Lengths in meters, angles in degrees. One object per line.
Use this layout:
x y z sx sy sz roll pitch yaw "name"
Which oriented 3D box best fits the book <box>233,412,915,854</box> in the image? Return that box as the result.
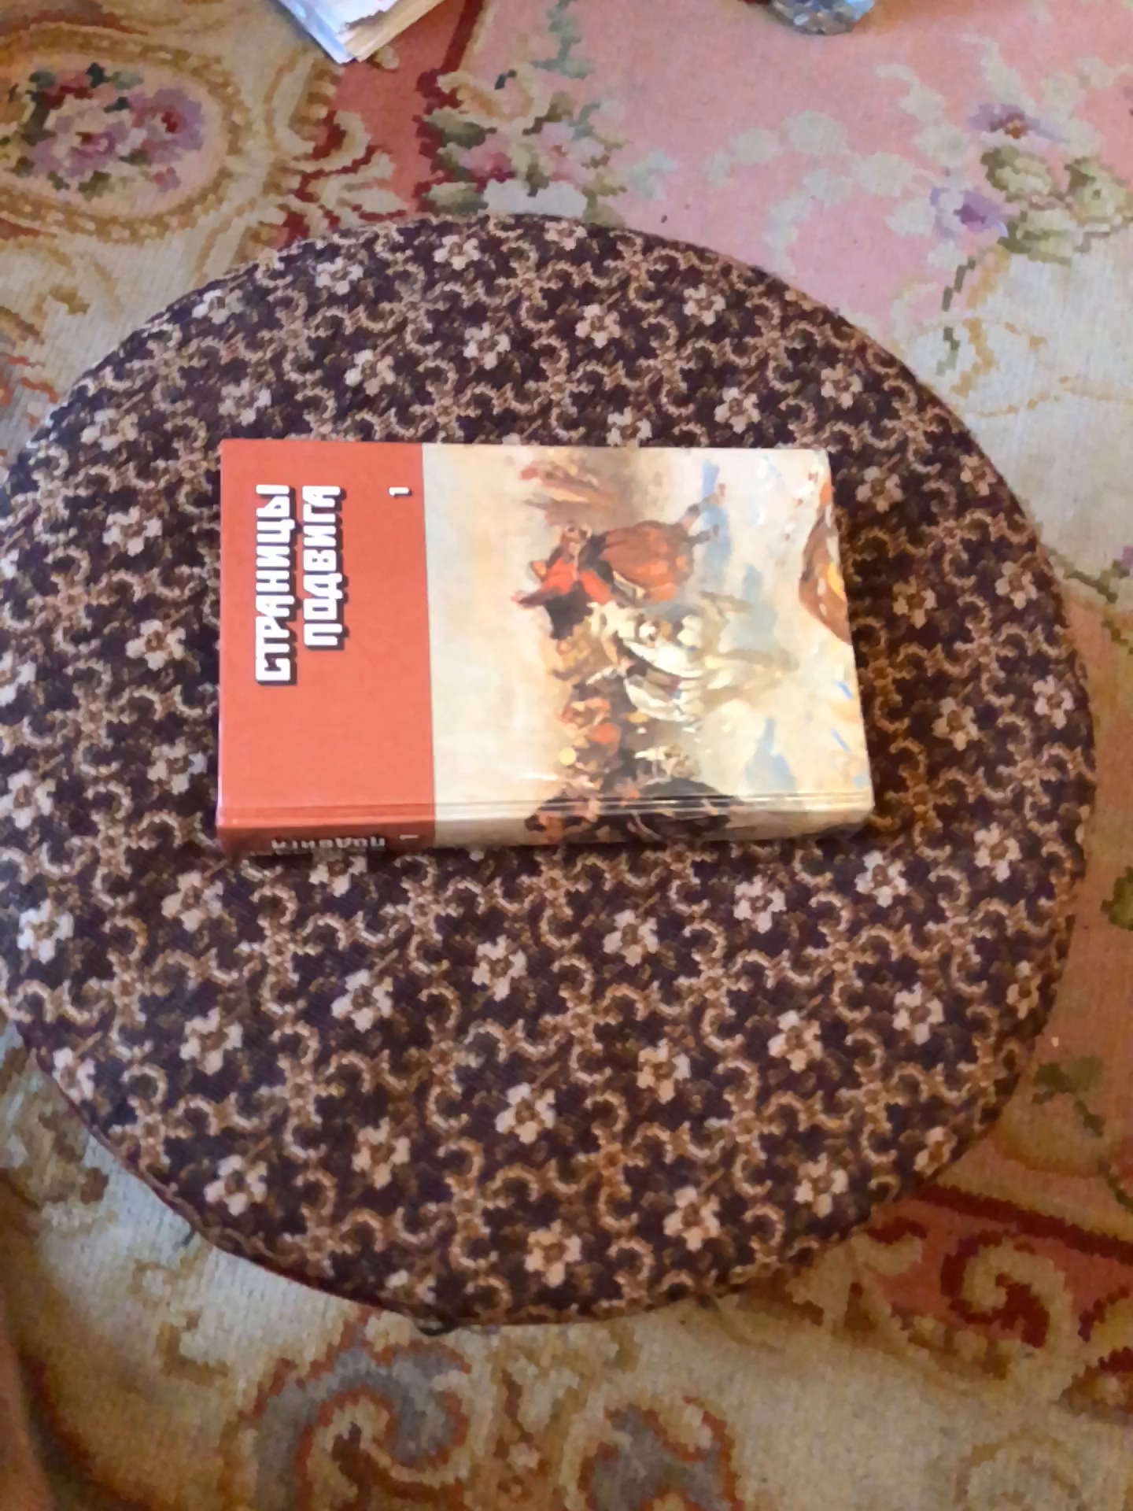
0.000 -0.041 0.408 0.206 0.040 0.135 -1 74 -8 "book"
